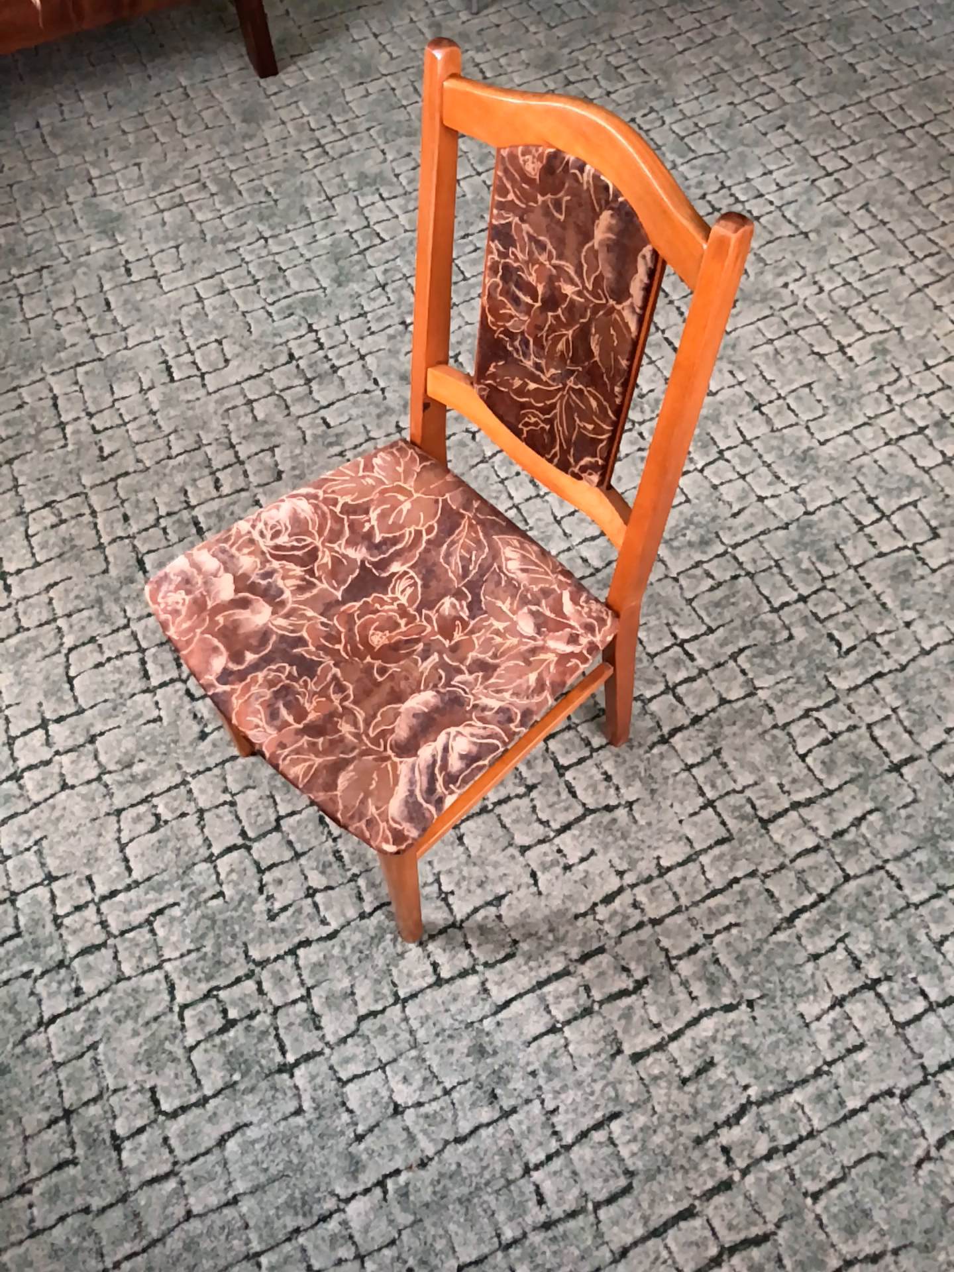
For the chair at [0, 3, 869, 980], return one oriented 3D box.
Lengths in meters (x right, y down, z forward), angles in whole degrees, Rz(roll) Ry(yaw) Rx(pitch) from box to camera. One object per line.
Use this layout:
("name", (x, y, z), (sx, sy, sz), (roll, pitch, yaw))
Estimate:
("chair", (-0.041, -0.082, 1.209), (0.551, 0.875, 0.481), (-37, 64, -19))
